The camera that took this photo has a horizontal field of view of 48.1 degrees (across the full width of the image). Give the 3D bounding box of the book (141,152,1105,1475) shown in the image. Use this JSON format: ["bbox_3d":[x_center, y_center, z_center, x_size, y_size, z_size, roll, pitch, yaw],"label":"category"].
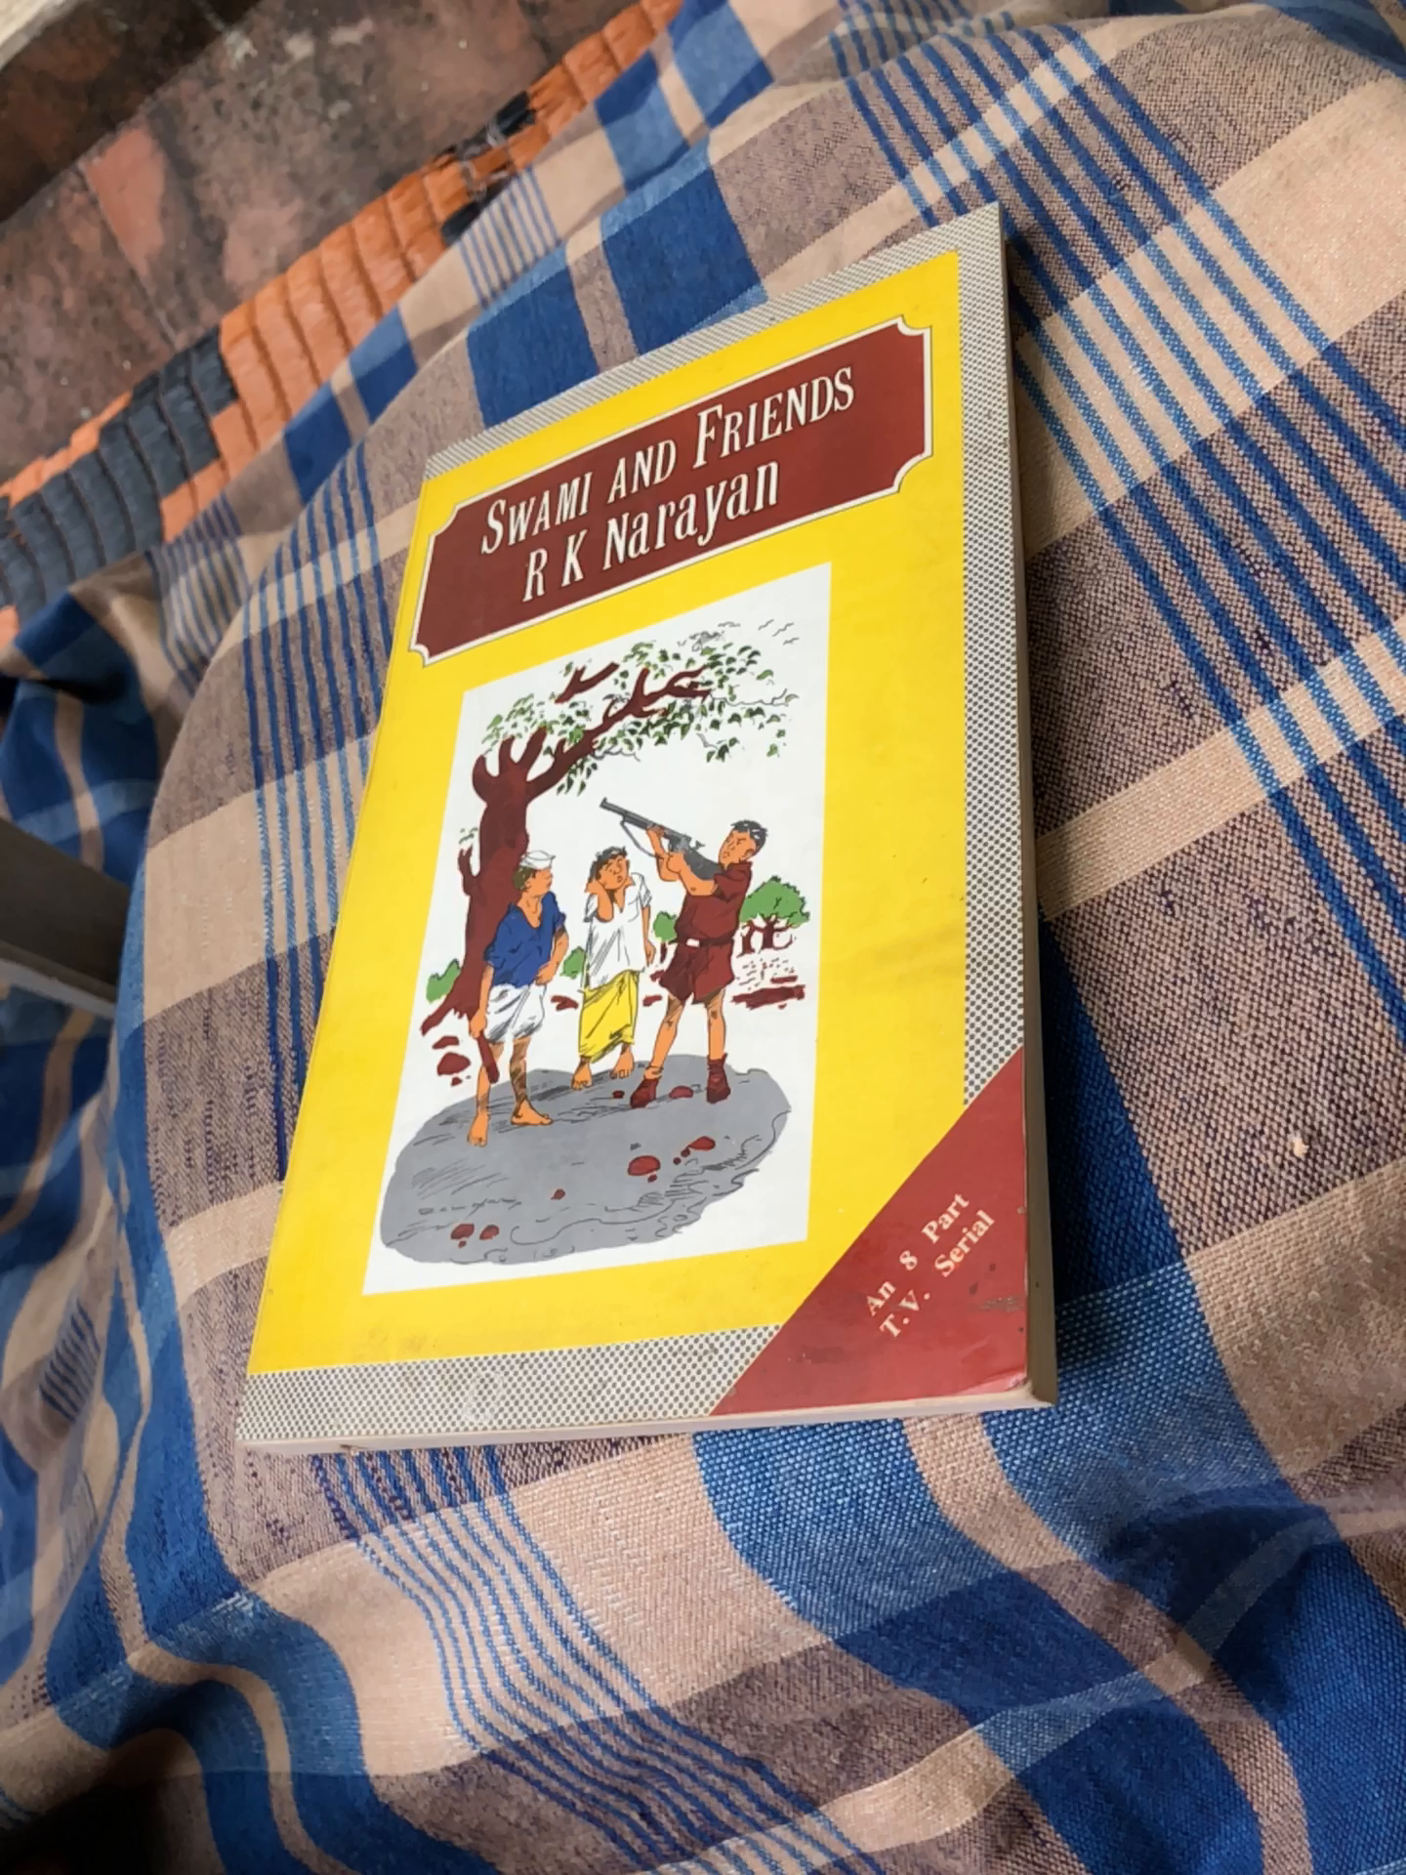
[{"bbox_3d":[-0.010,-0.021,0.238,0.130,0.020,0.190,-13,57,30],"label":"book"}]
